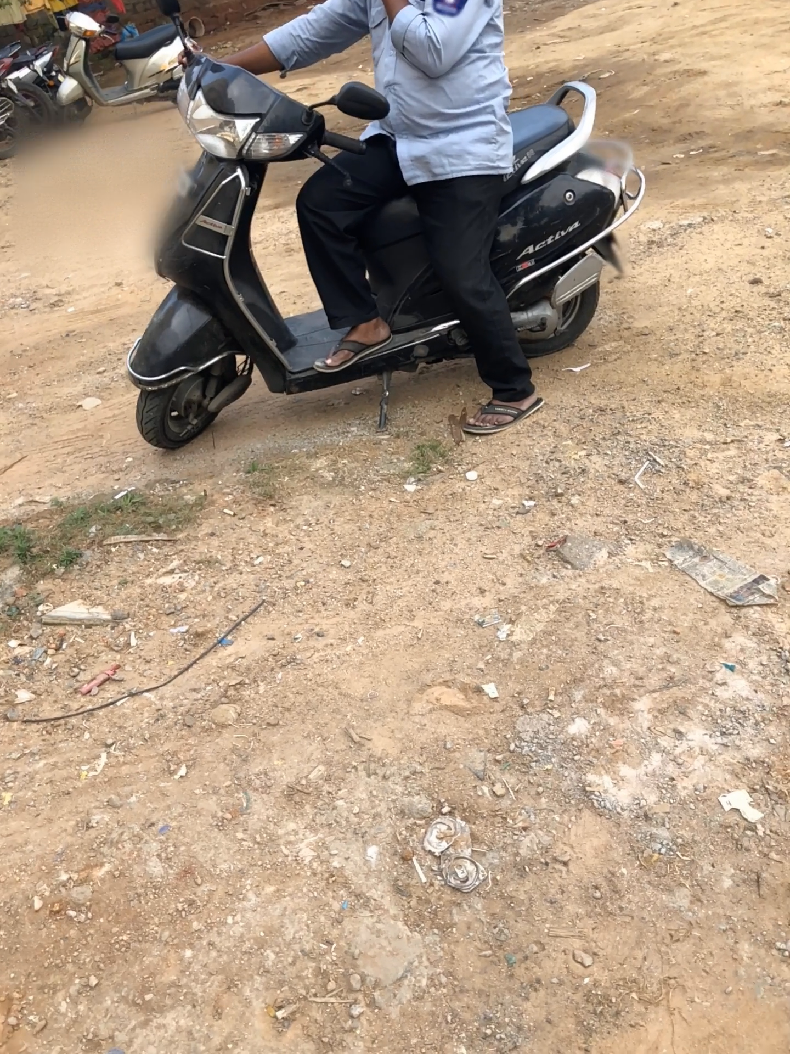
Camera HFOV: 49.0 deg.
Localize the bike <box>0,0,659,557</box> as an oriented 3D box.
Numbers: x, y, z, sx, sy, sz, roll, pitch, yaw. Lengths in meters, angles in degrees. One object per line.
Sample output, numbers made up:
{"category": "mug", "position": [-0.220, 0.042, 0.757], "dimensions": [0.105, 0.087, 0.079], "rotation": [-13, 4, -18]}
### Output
{"category": "bike", "position": [-0.111, -0.755, 2.464], "dimensions": [1.524, 1.102, 0.577], "rotation": [-19, 34, -4]}
